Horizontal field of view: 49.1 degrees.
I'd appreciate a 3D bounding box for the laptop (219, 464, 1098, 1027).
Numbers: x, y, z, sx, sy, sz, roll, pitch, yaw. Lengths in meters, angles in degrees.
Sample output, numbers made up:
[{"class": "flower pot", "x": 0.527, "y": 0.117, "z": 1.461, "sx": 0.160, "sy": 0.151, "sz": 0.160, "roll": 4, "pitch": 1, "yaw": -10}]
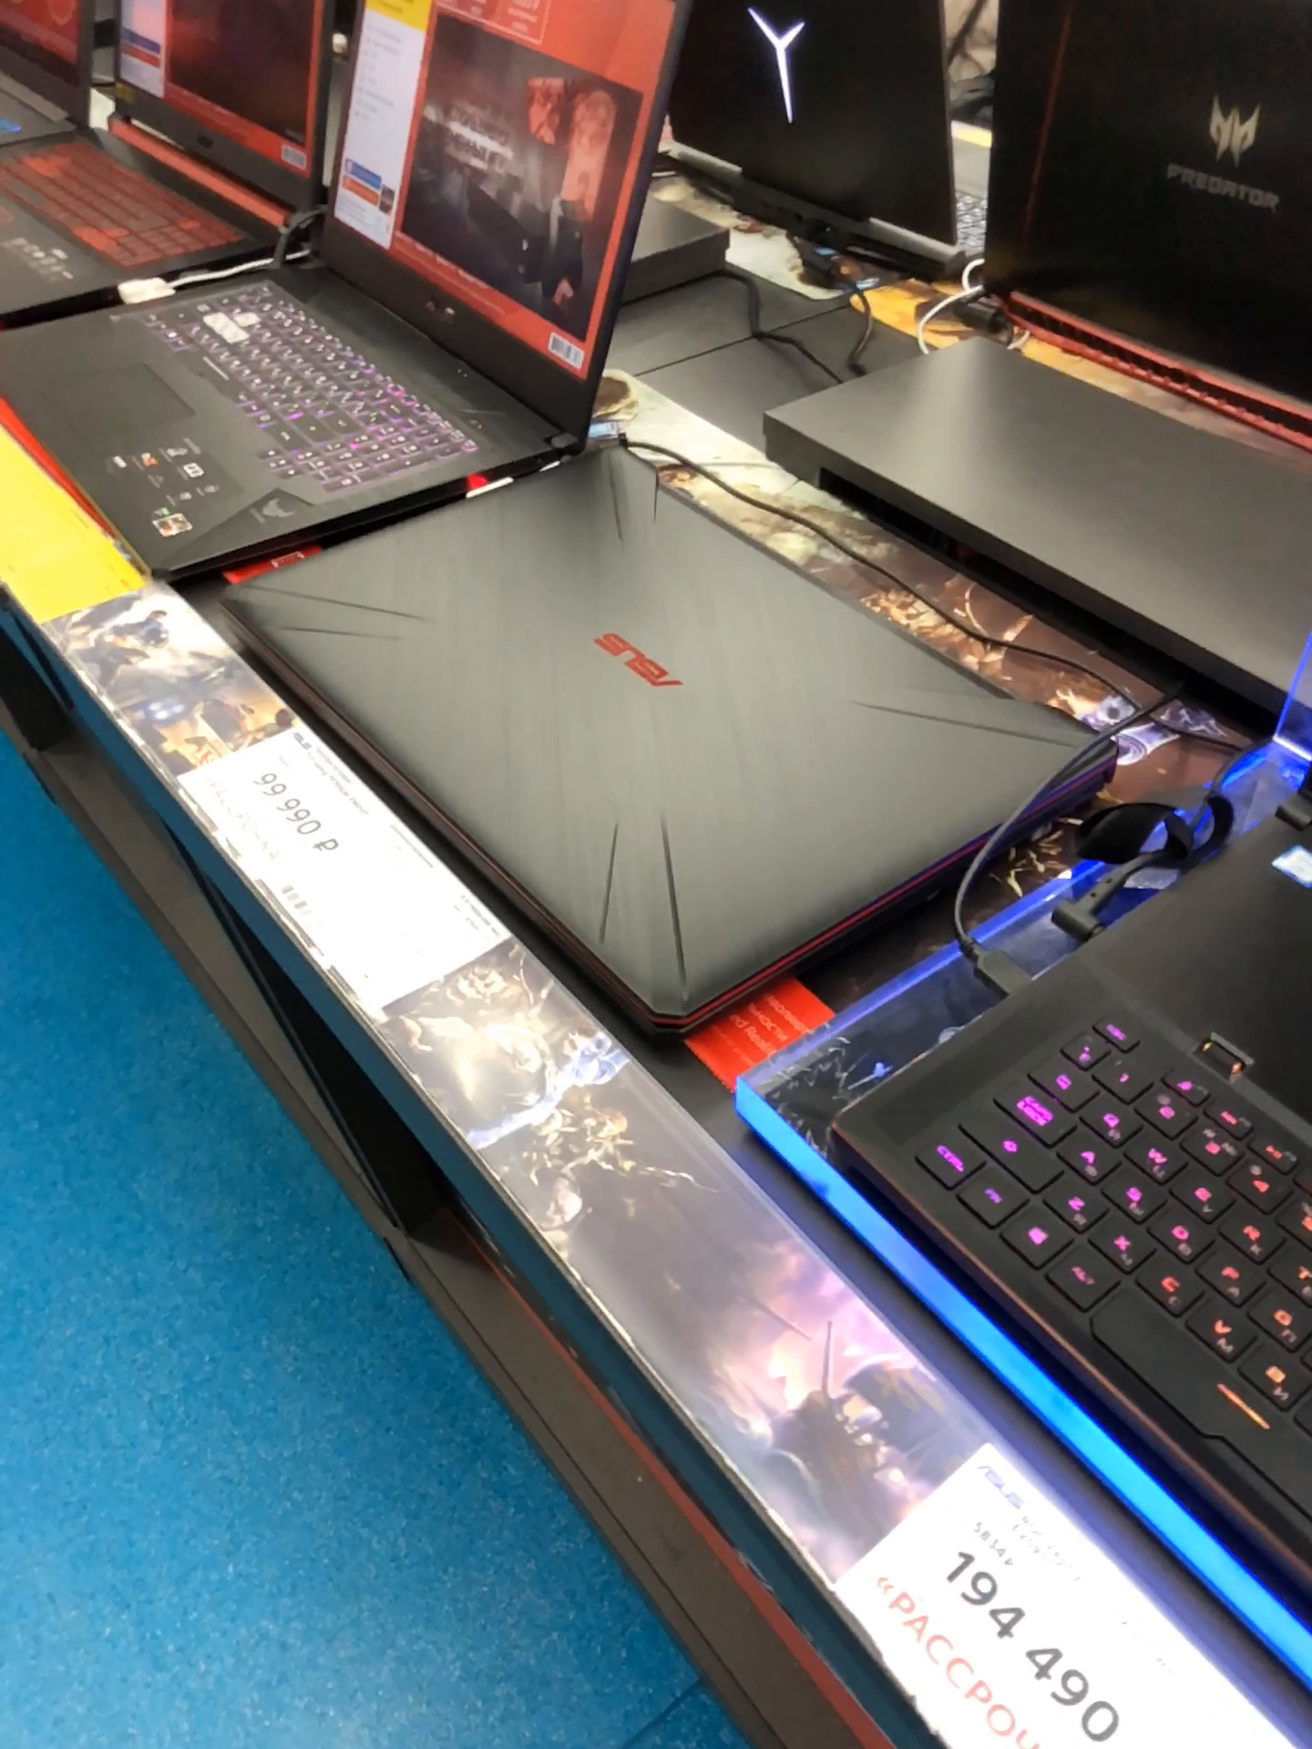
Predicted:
[{"class": "laptop", "x": -0.016, "y": -0.098, "z": 0.712, "sx": 0.253, "sy": 0.002, "sz": 0.389, "roll": -28, "pitch": 48, "yaw": -28}]
